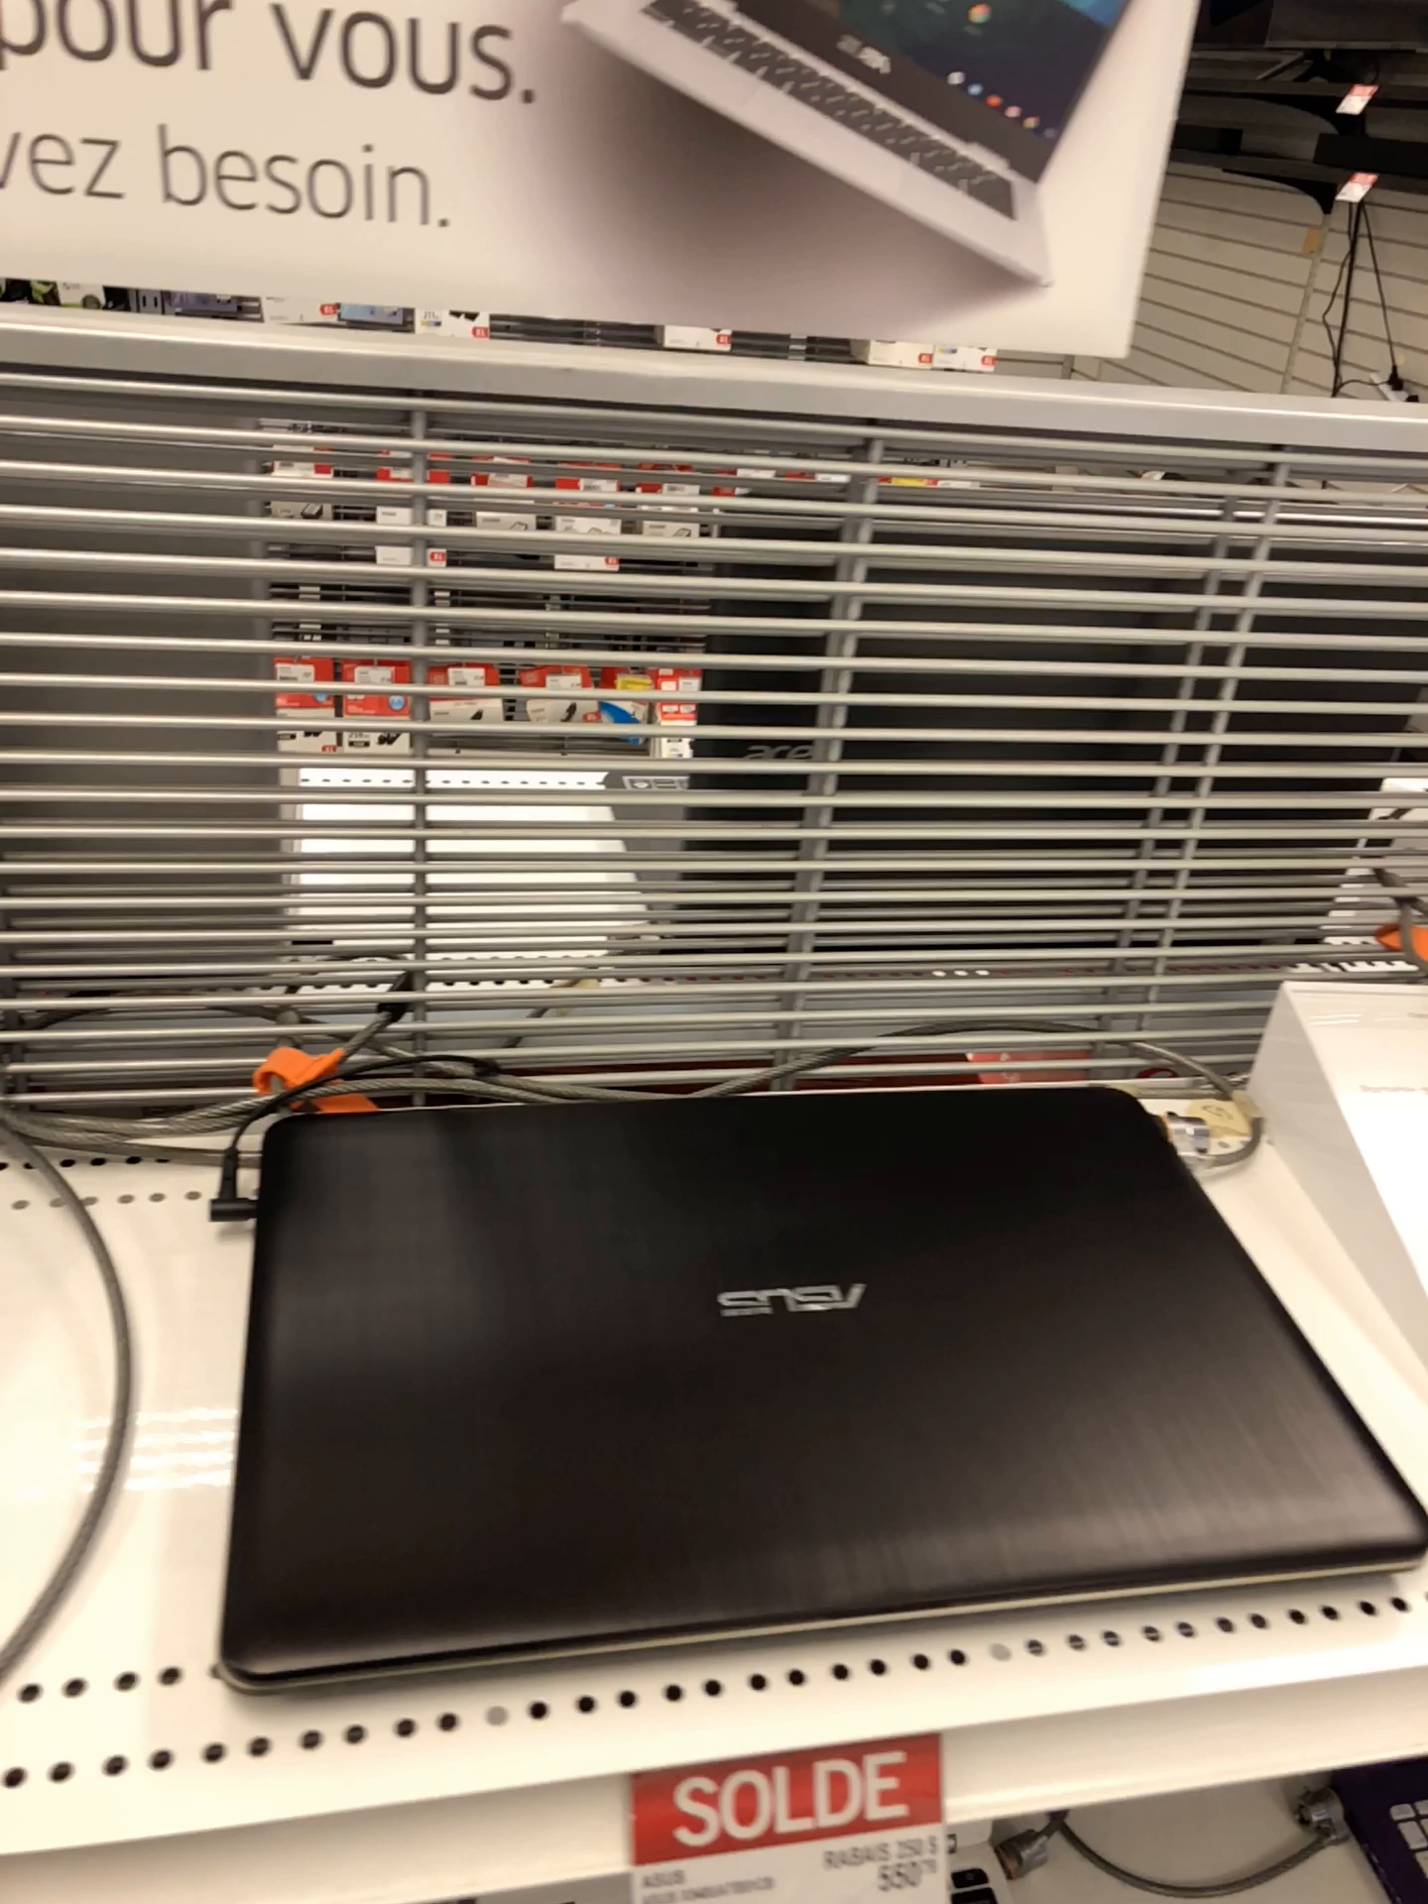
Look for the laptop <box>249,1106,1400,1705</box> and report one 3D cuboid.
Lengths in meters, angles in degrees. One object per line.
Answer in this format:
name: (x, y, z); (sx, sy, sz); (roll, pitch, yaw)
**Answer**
laptop: (0.030, 0.139, 0.574); (0.367, 0.013, 0.235); (0, 32, -15)
